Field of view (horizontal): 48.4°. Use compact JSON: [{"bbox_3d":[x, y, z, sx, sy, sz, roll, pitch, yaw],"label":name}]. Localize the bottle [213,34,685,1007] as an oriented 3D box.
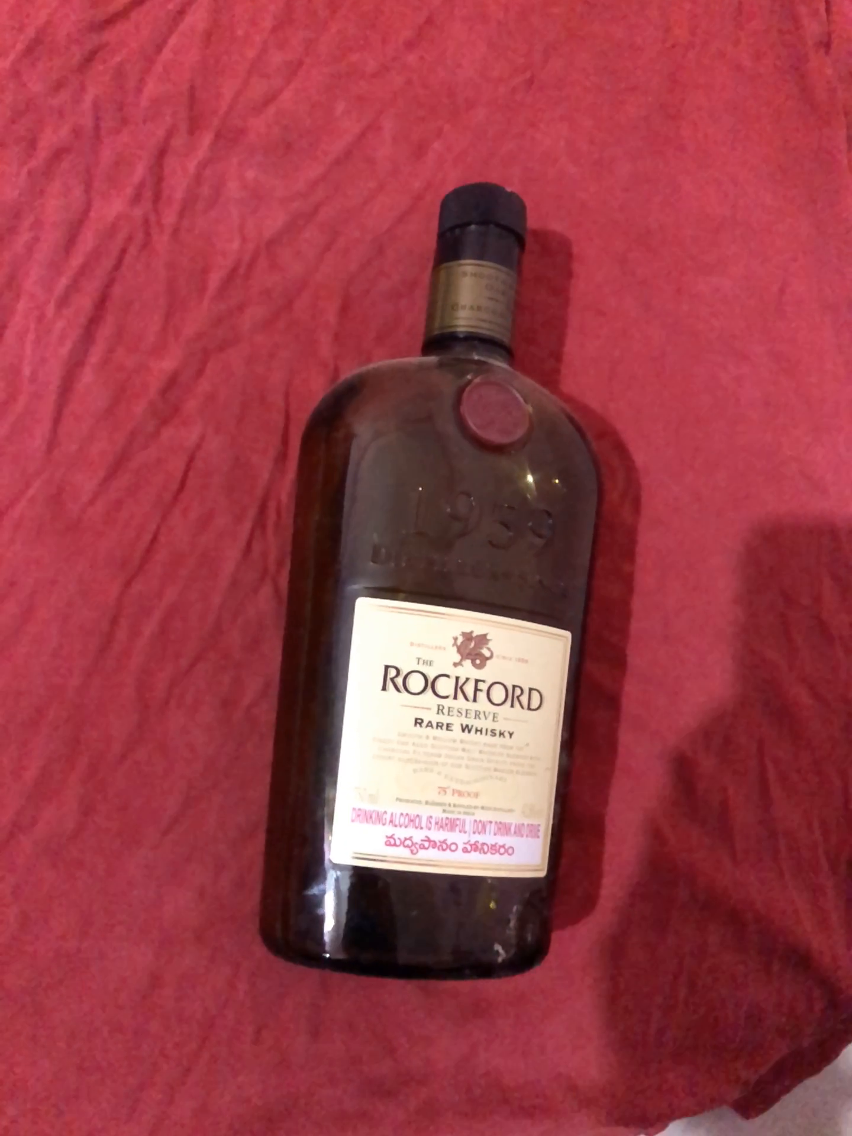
[{"bbox_3d":[0.009,-0.012,0.281,0.100,0.060,0.250,10,79,-18],"label":"bottle"}]
